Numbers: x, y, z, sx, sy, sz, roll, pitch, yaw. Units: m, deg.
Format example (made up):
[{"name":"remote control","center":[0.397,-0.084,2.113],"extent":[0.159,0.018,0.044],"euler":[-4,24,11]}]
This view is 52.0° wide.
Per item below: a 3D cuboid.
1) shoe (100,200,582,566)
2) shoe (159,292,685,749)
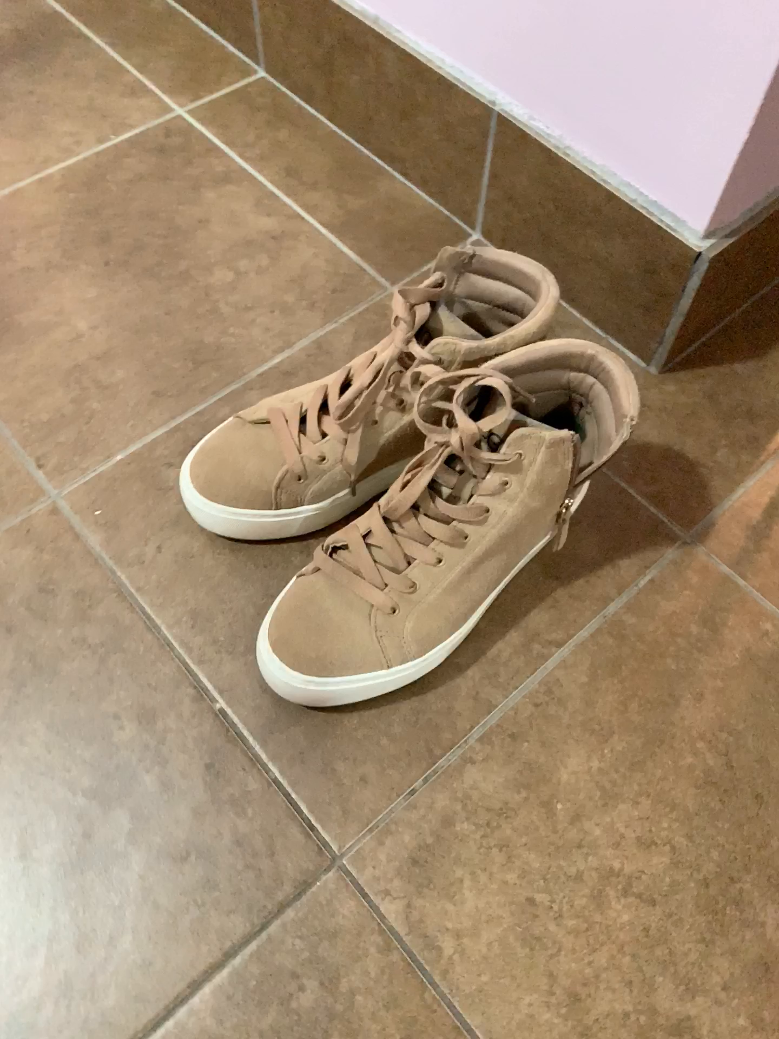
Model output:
[{"name":"shoe","center":[-0.027,-0.087,0.507],"extent":[0.254,0.117,0.106],"euler":[-22,63,-13]},{"name":"shoe","center":[0.023,-0.003,0.481],"extent":[0.270,0.120,0.113],"euler":[-32,65,-18]}]
